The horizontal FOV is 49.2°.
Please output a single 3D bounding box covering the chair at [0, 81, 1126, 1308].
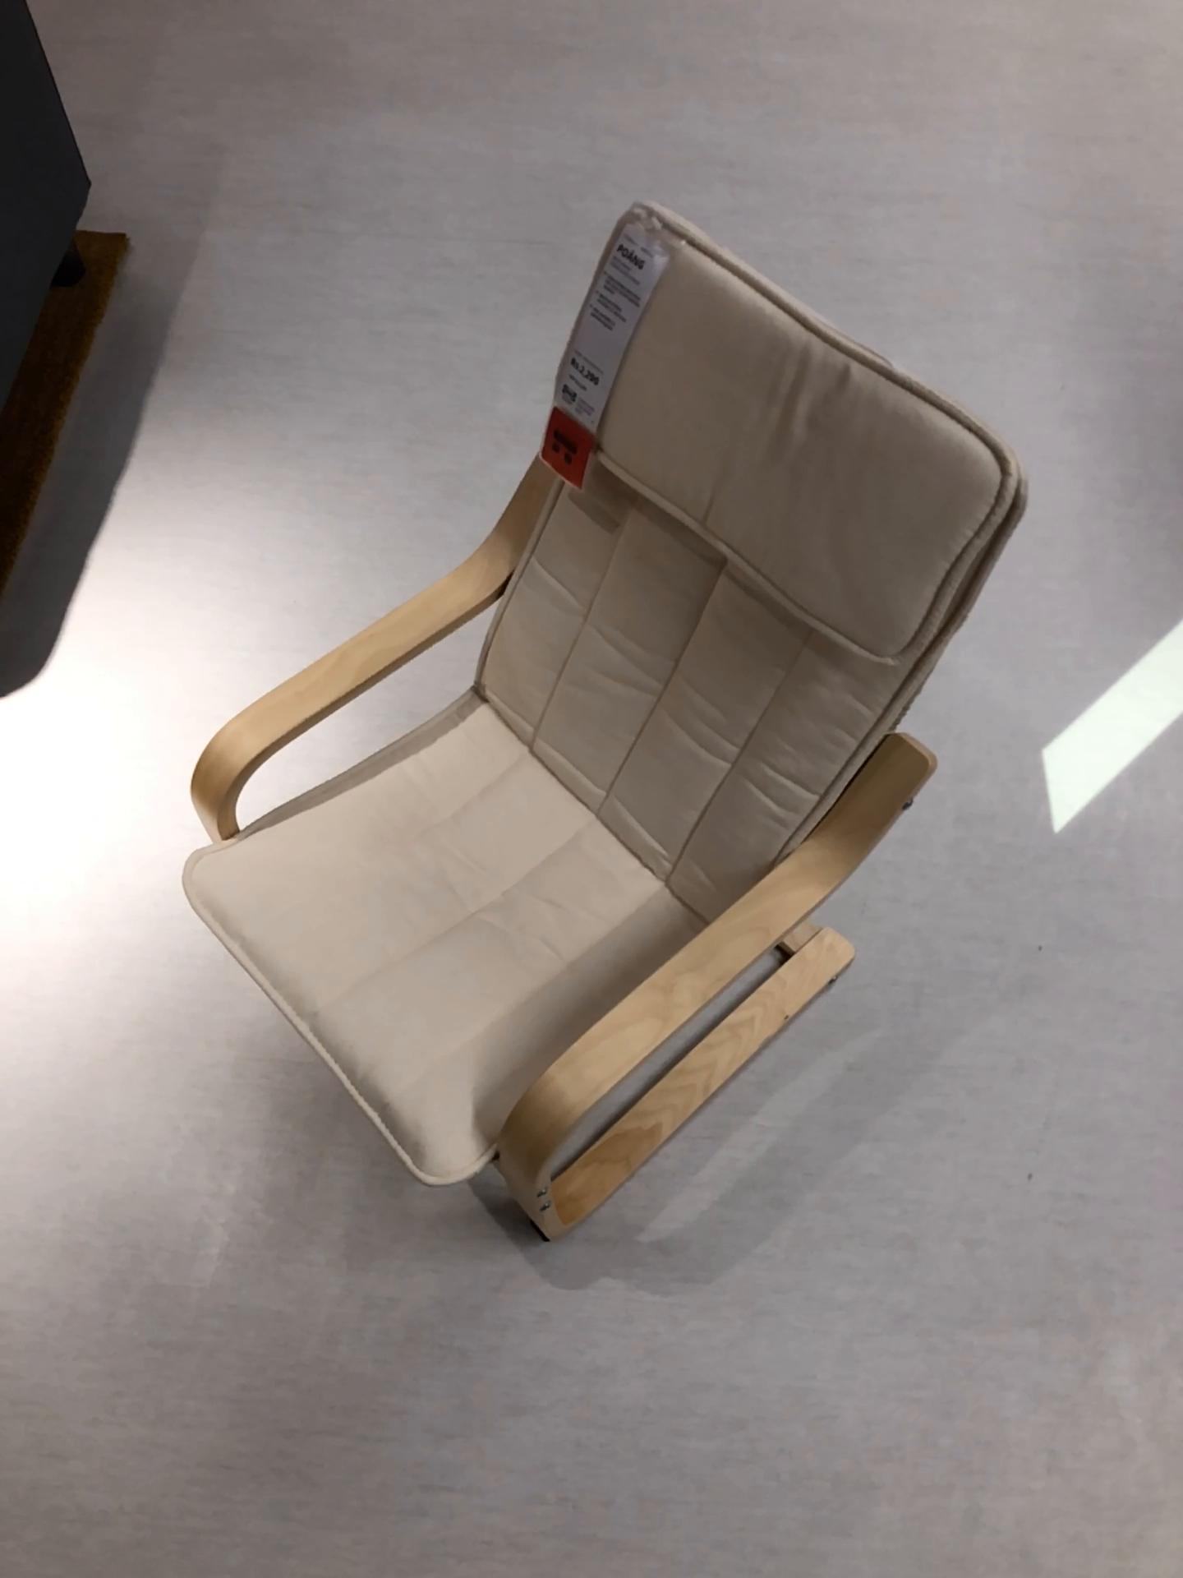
[{"bbox_3d":[-0.061,-0.011,1.198,0.581,0.836,0.561,-38,67,-20],"label":"chair"}]
